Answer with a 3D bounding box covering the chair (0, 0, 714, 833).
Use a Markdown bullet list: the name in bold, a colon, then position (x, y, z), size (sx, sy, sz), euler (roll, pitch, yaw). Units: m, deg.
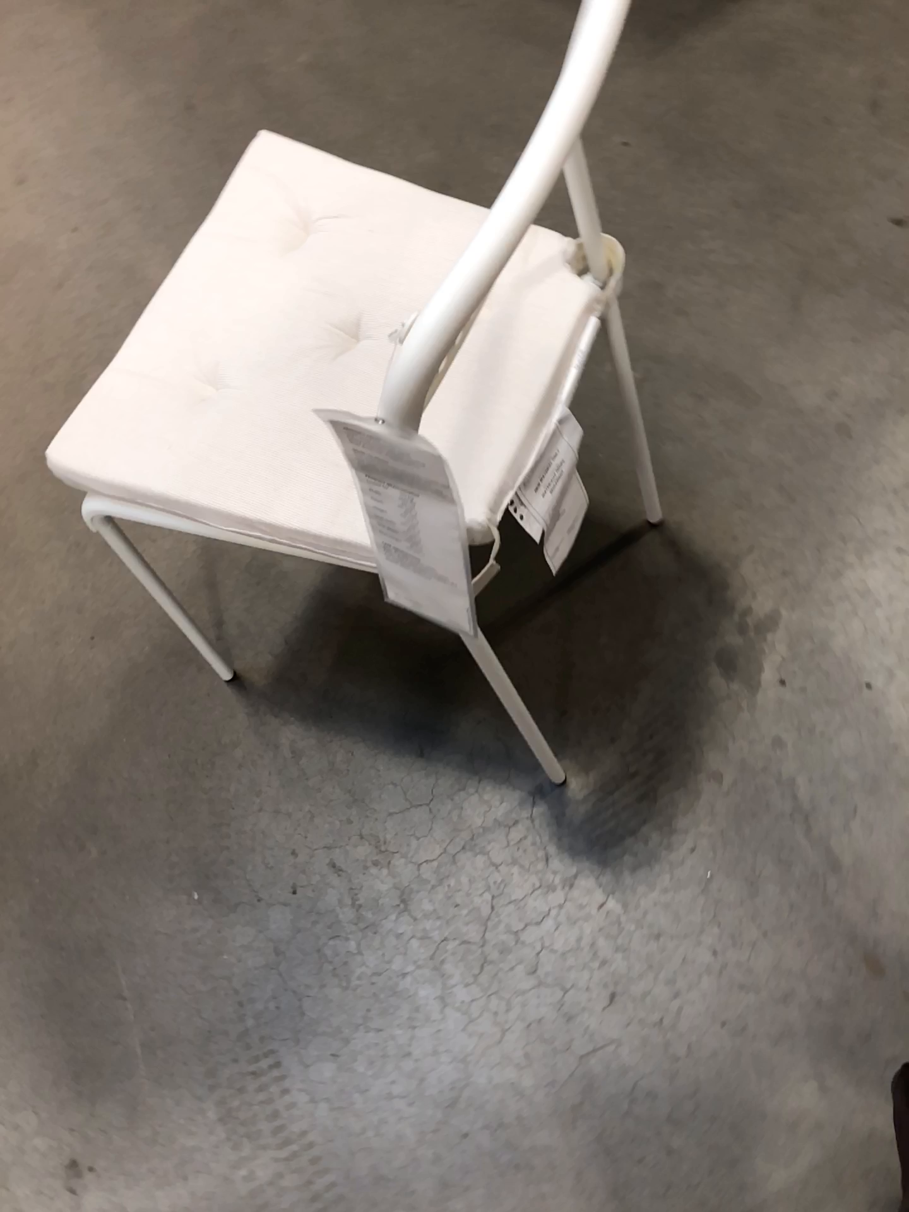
- **chair**: position (-0.103, -0.179, 0.937), size (0.531, 0.739, 0.480), euler (15, 69, 18)
